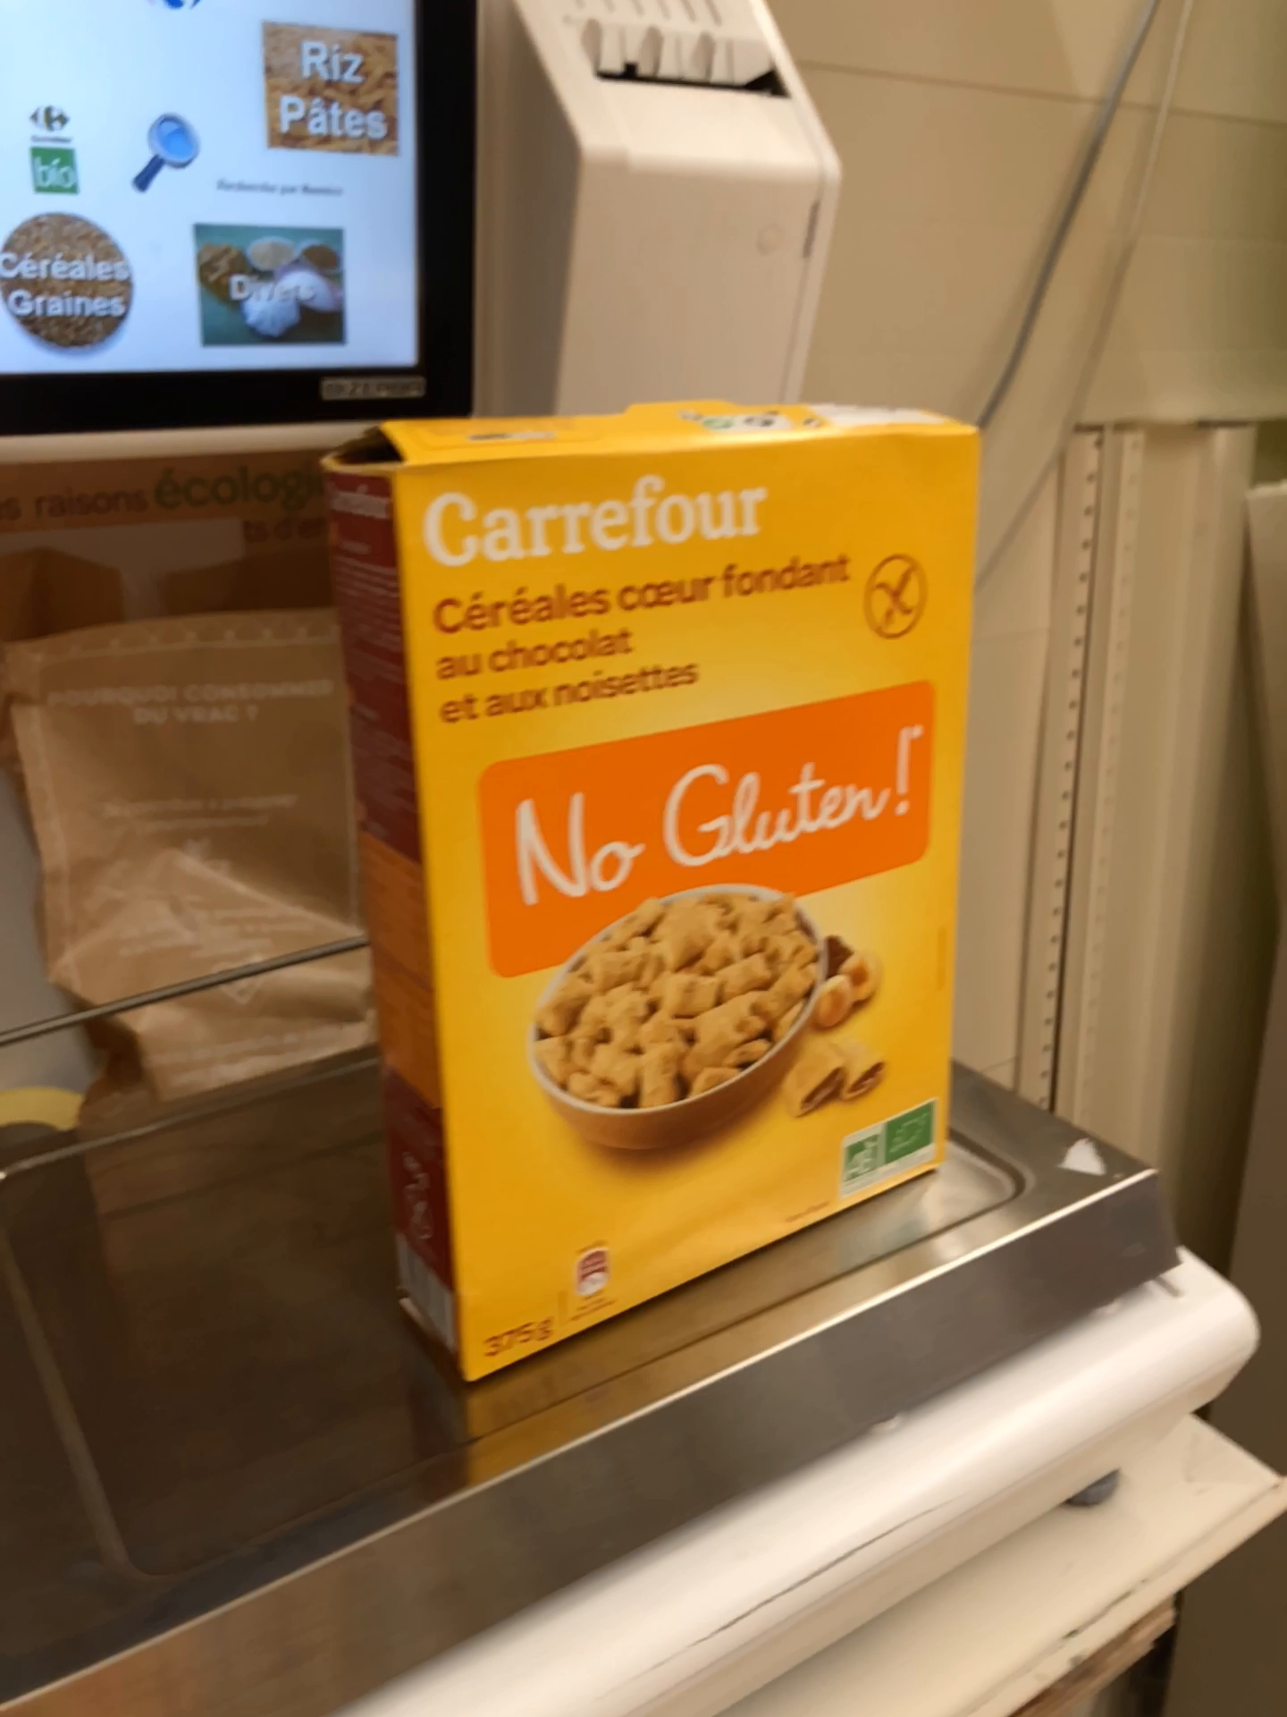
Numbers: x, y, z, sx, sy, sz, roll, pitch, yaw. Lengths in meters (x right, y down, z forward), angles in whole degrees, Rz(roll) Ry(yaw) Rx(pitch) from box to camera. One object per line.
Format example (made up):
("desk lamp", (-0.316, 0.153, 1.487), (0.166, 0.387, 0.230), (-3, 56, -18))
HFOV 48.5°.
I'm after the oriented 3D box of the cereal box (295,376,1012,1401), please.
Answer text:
("cereal box", (0.013, -0.004, 0.436), (0.201, 0.269, 0.060), (-13, 22, -33))
